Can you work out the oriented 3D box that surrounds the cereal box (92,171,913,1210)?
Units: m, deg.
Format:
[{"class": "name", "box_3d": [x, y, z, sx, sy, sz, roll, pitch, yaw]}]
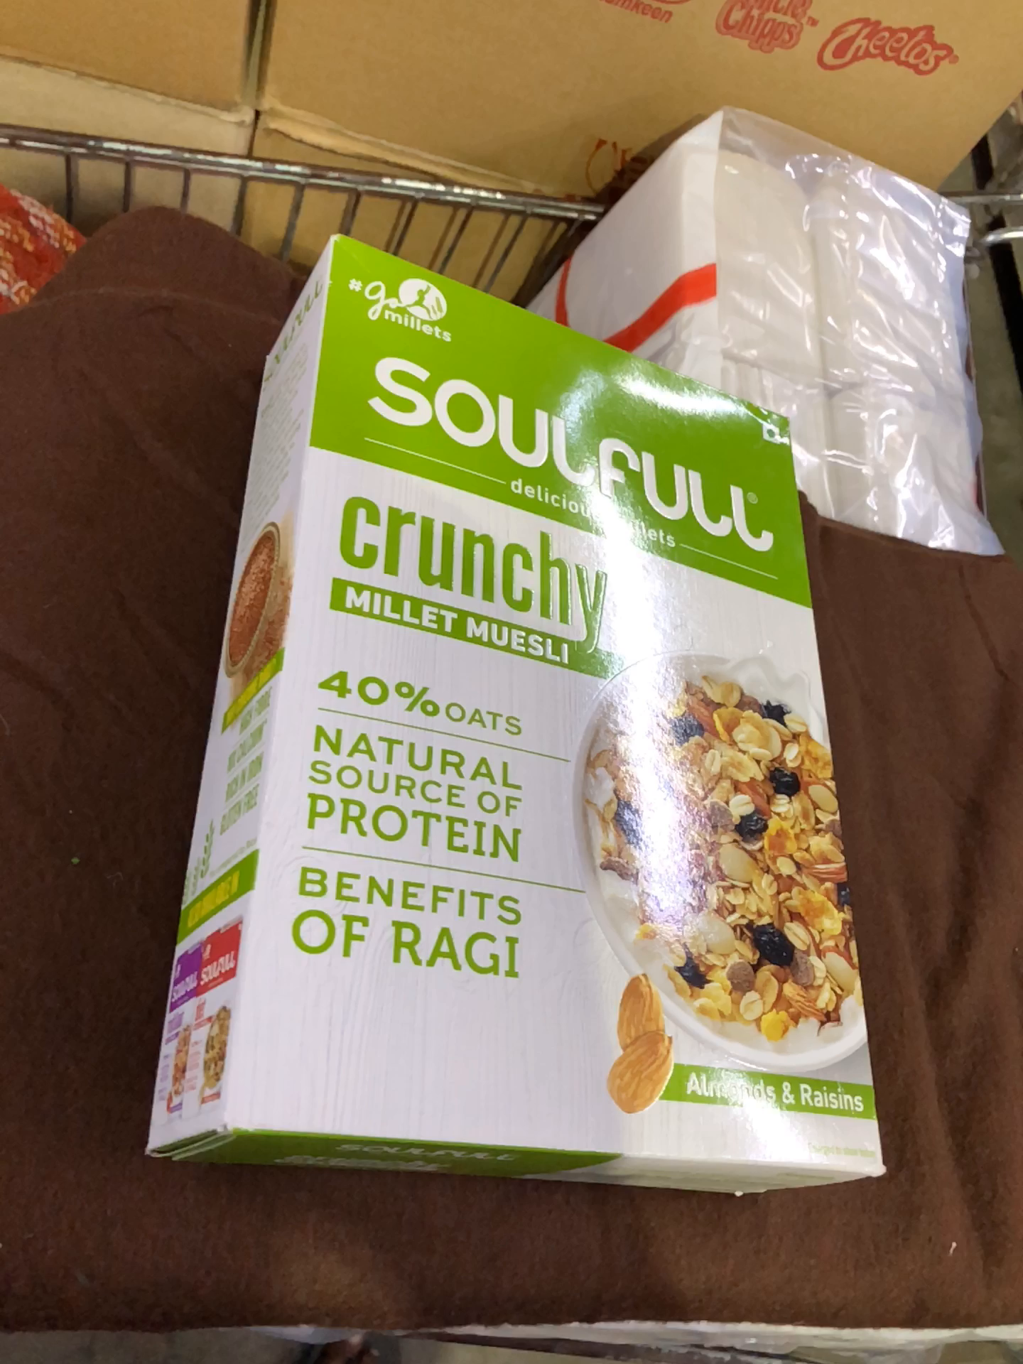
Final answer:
[{"class": "cereal box", "box_3d": [0.002, -0.001, 0.296, 0.160, 0.060, 0.241, 14, 58, -22]}]
